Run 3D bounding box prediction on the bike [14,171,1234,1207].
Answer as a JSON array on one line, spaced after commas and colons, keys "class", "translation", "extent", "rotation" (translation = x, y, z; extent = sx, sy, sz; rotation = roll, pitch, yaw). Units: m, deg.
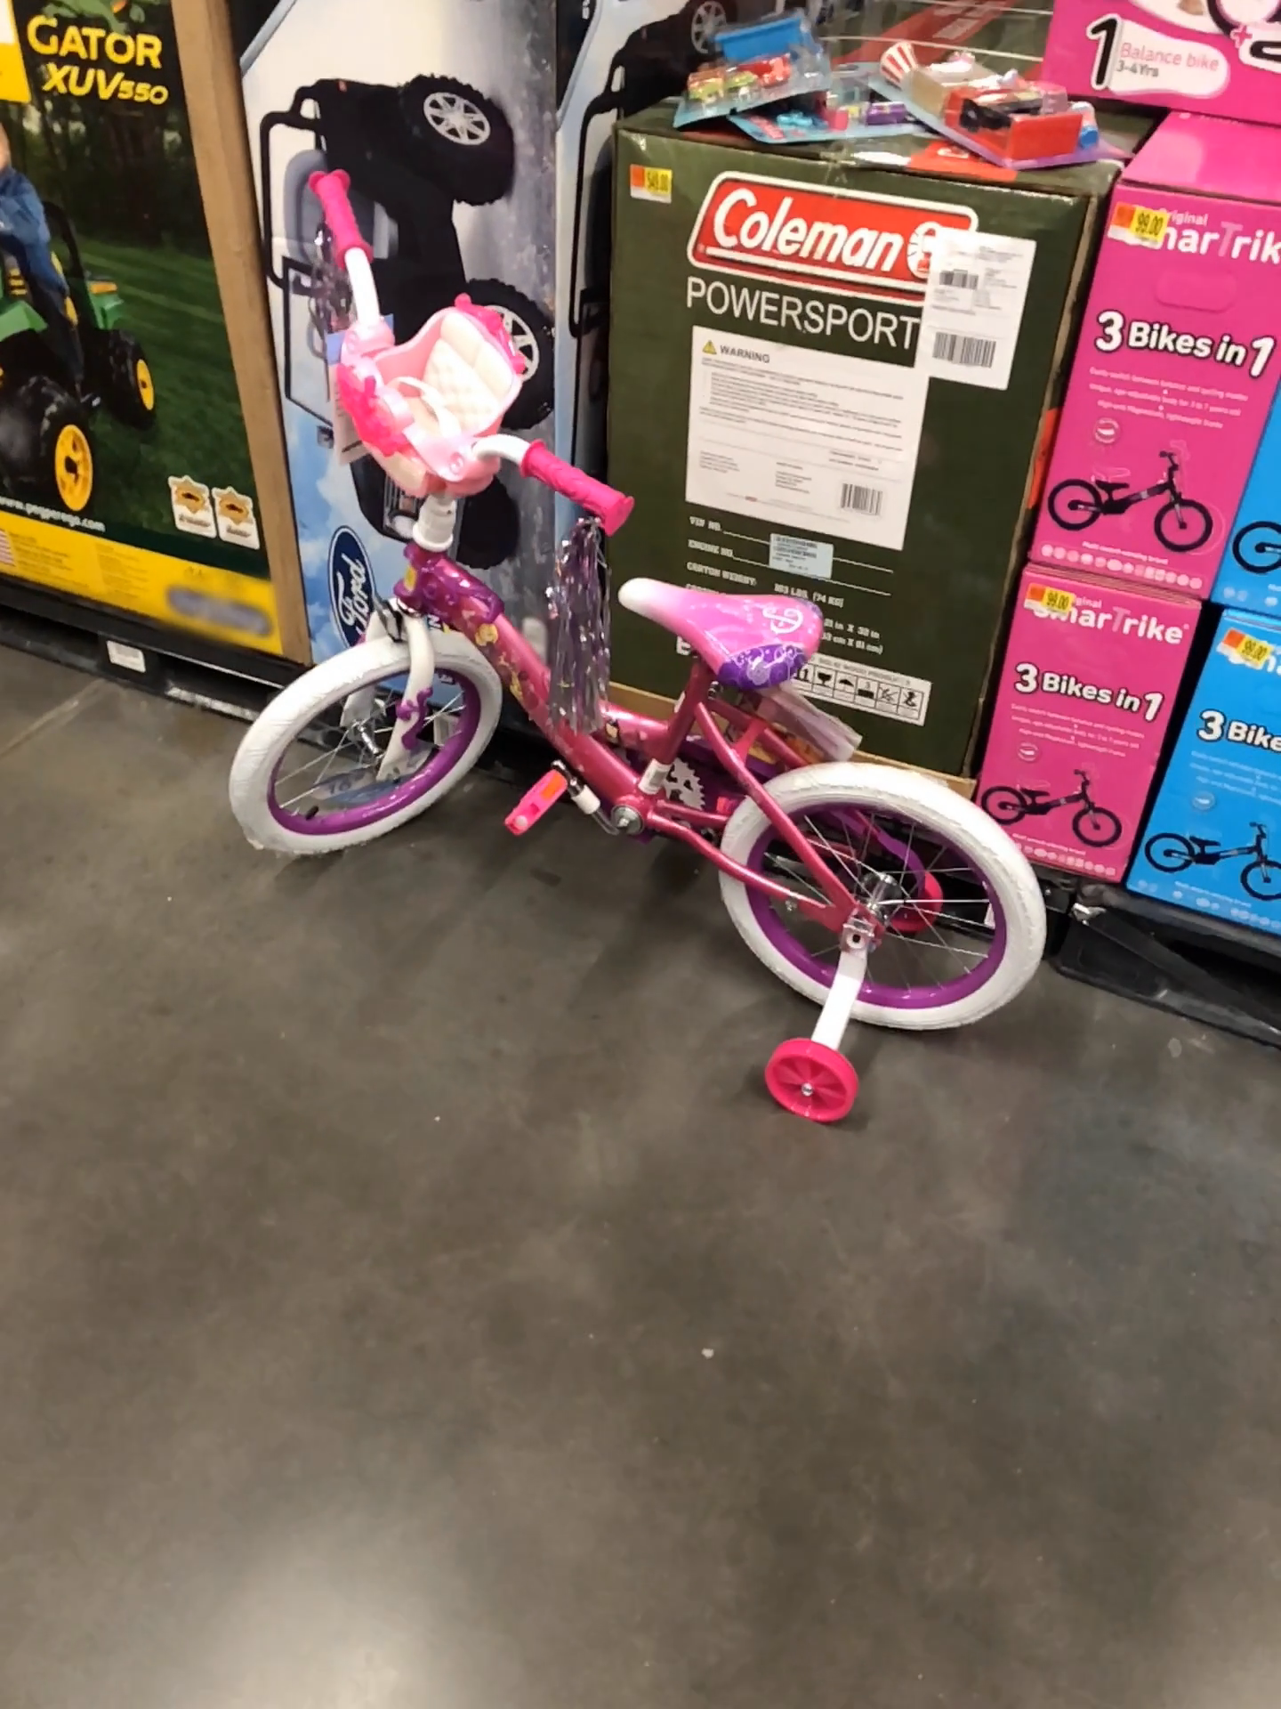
[{"class": "bike", "translation": [-0.010, -0.177, 1.499], "extent": [0.948, 0.854, 0.479], "rotation": [10, 40, 10]}]
